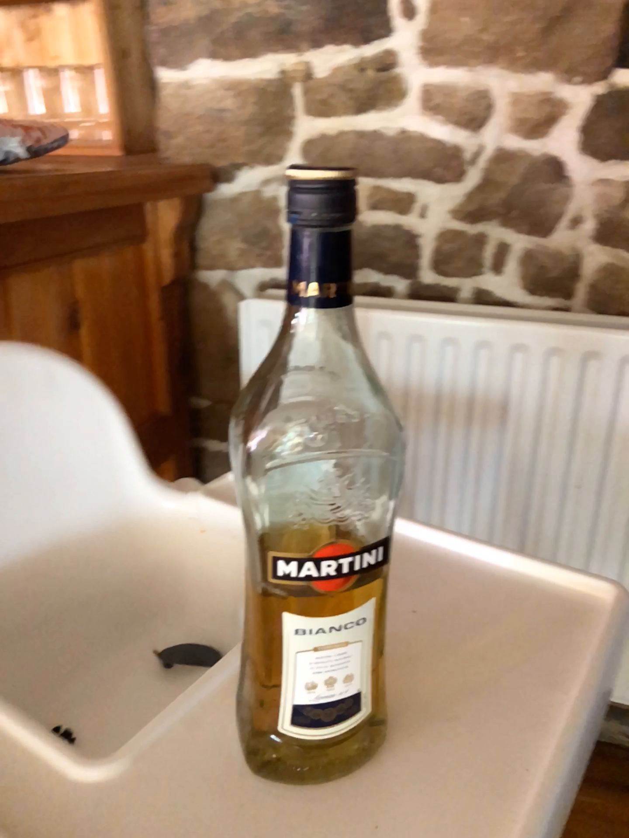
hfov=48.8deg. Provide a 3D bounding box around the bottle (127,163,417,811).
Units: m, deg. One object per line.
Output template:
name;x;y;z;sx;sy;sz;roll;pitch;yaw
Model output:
bottle;-0.021;0.040;0.355;0.110;0.318;0.080;-4;22;-11
